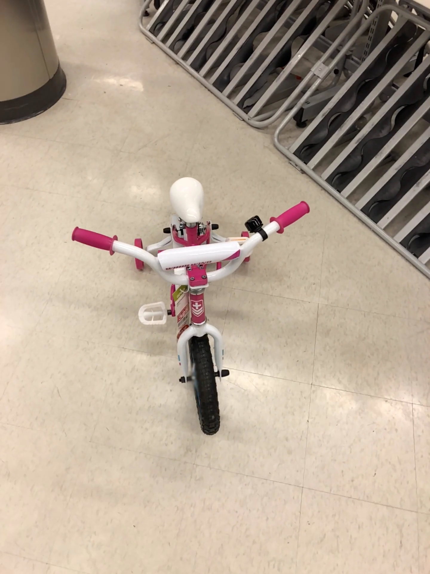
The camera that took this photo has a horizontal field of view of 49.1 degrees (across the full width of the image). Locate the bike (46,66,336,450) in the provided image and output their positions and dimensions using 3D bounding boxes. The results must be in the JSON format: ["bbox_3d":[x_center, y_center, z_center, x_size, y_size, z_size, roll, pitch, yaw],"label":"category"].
[{"bbox_3d":[-0.076,-0.087,1.261,0.461,0.625,0.818,-4,53,-4],"label":"bike"}]
